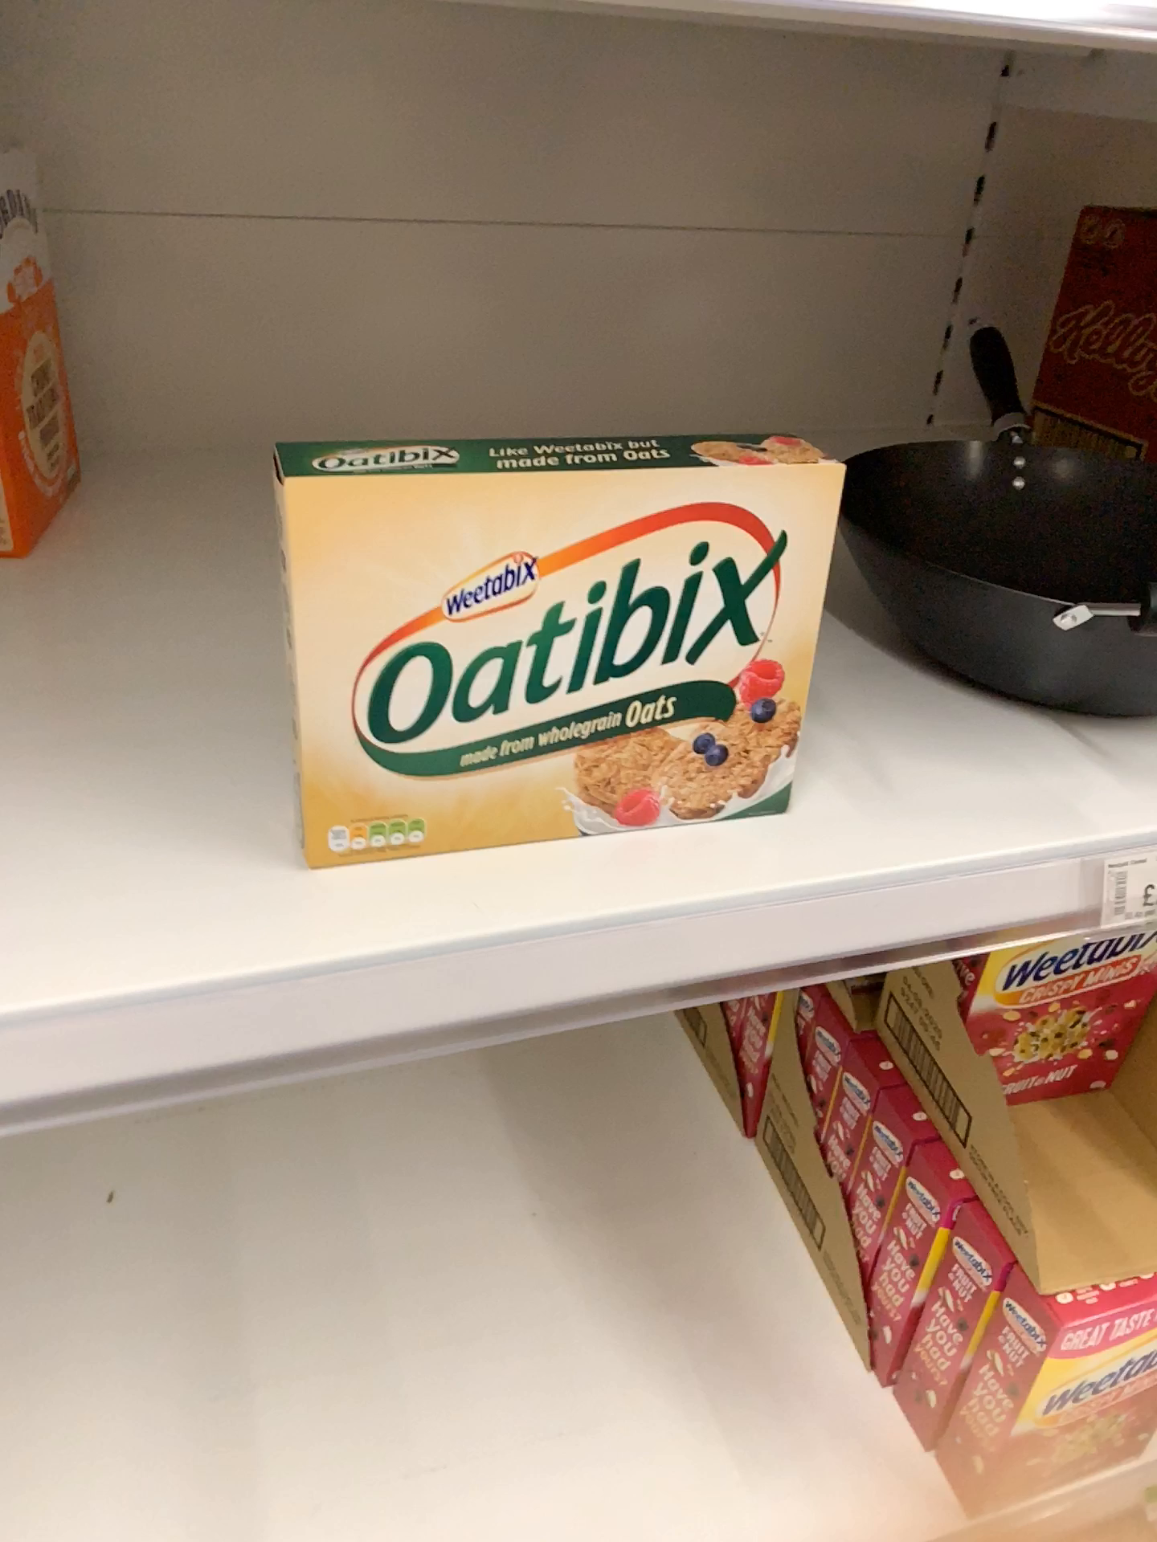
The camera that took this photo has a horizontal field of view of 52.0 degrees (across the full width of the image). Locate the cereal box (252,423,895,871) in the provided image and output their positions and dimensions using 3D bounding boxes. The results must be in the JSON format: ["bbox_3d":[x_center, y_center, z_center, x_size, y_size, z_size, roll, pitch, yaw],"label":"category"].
[{"bbox_3d":[-0.005,-0.063,0.558,0.270,0.178,0.071,-6,32,-17],"label":"cereal box"}]
